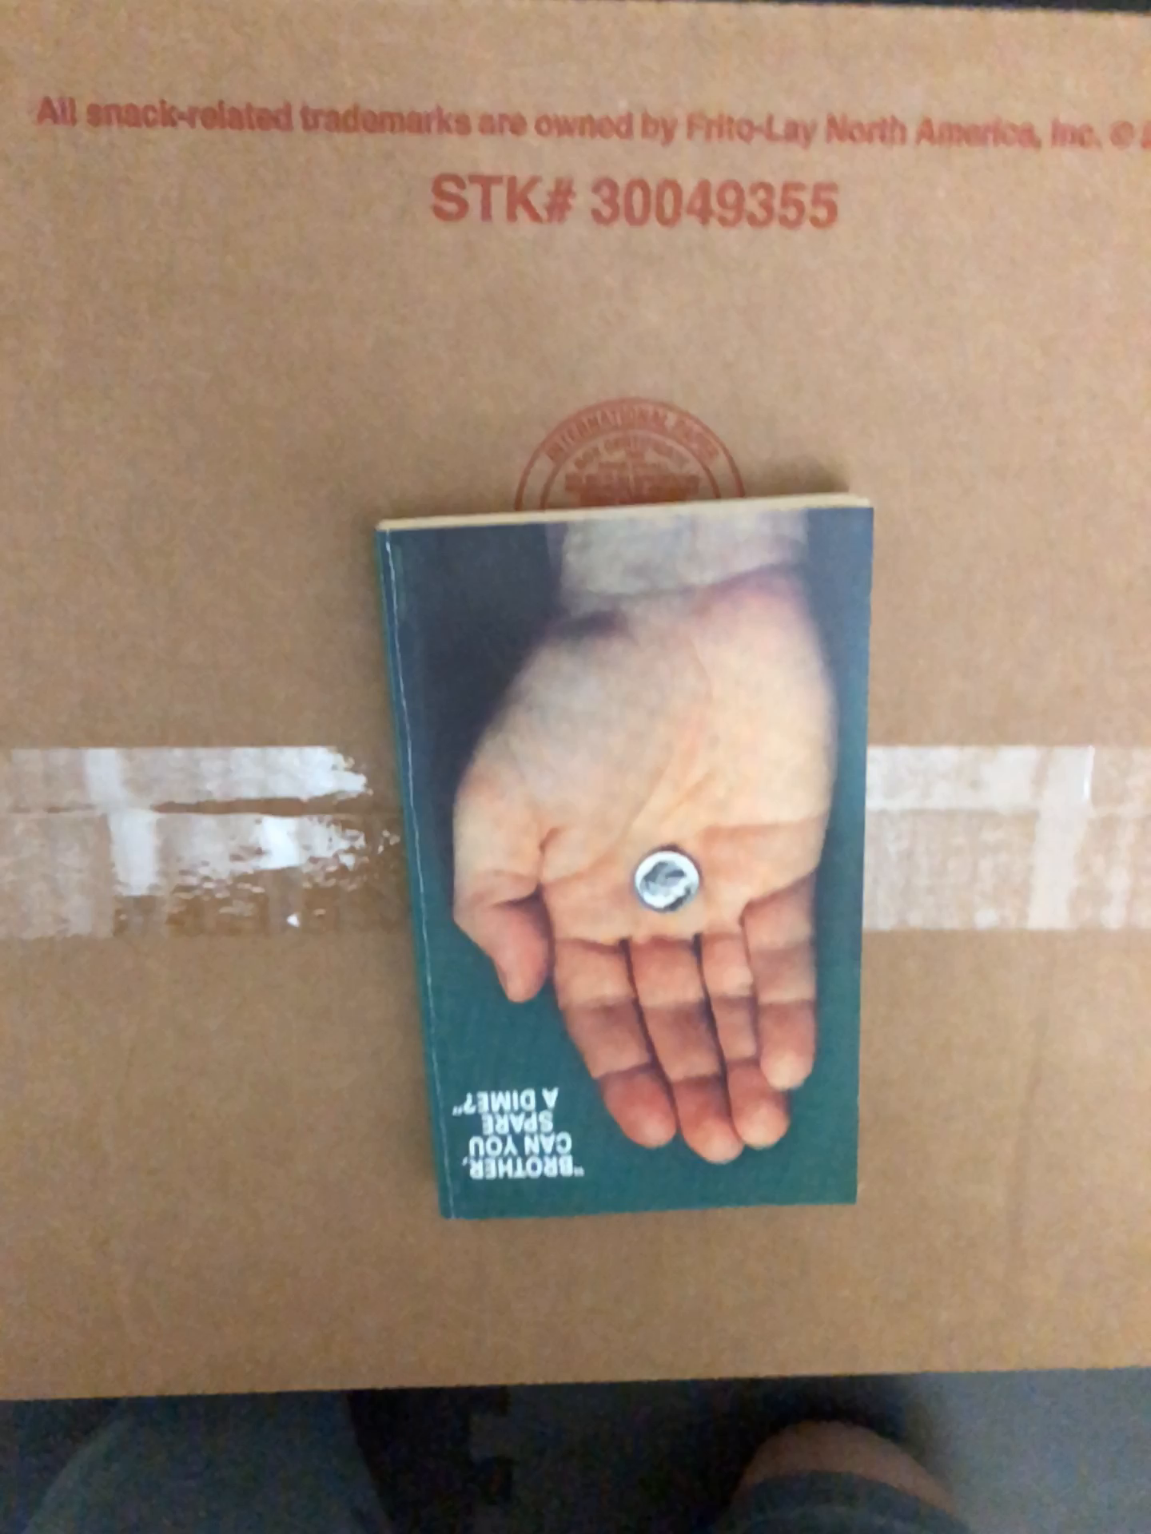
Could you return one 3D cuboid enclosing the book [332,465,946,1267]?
[{"bbox_3d":[0.016,0.028,0.287,0.120,0.020,0.180,-3,109,-1],"label":"book"}]
